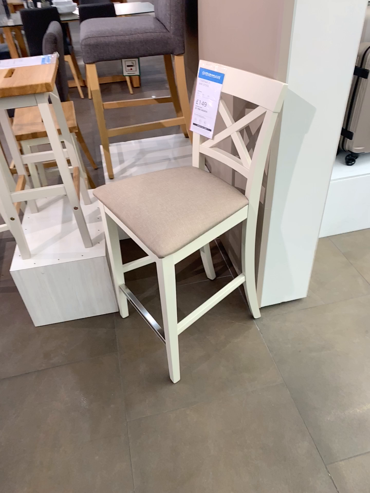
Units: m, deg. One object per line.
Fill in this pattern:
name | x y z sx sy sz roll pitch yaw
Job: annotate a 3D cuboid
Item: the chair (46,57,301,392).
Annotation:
chair | -0.018 -0.064 1.316 0.539 0.938 0.452 -25 43 -25
